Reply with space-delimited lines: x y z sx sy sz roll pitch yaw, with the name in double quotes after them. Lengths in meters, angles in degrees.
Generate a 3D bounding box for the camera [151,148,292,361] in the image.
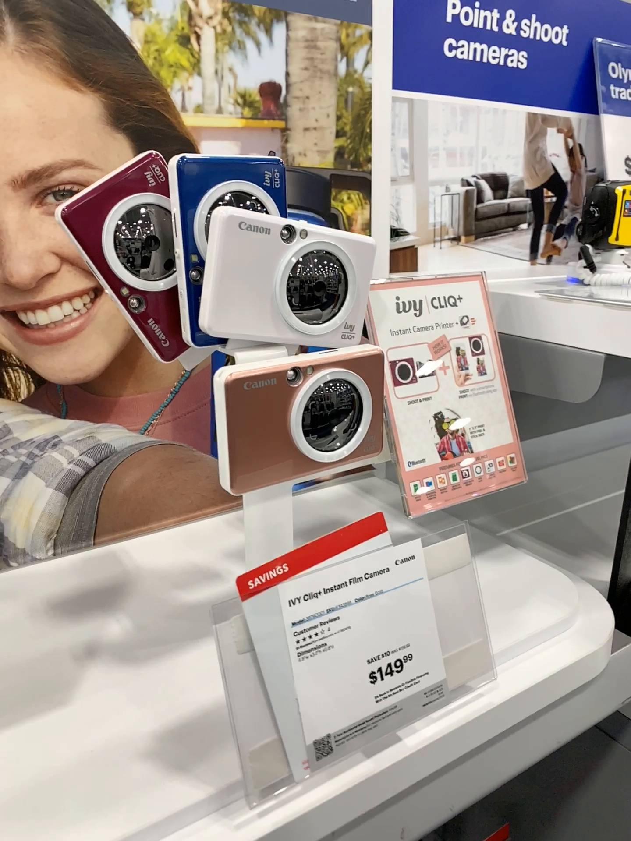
-0.061 -0.111 0.436 0.080 0.129 0.030 -9 18 -24 "camera"

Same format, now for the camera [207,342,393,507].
-0.006 -0.002 0.415 0.120 0.080 0.030 -12 20 -34 "camera"

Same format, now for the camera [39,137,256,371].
-0.106 -0.106 0.424 0.080 0.119 0.030 -38 28 -12 "camera"

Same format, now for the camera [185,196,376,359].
-0.021 -0.092 0.437 0.120 0.090 0.030 1 13 -36 "camera"
